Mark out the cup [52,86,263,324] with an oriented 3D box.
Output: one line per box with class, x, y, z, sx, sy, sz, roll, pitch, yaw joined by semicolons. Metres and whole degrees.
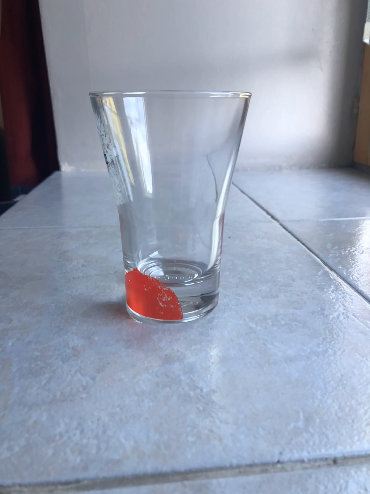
cup;-0.009;-0.030;0.243;0.092;0.116;0.096;-1;19;0
